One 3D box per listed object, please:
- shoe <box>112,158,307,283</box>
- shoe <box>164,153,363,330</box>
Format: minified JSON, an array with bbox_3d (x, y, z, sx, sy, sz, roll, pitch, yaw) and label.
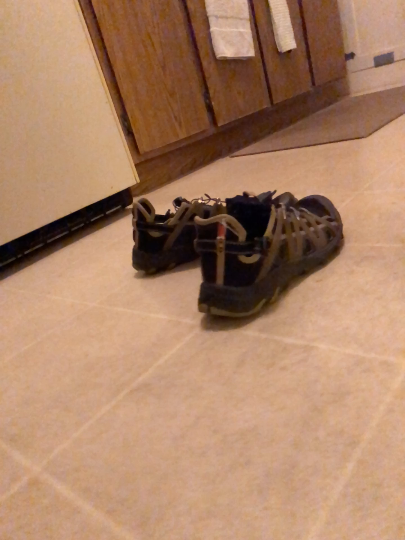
[{"bbox_3d":[0.012,-0.082,0.722,0.279,0.109,0.100,-15,21,5],"label":"shoe"},{"bbox_3d":[0.098,-0.053,0.583,0.109,0.111,0.287,2,28,41],"label":"shoe"}]
